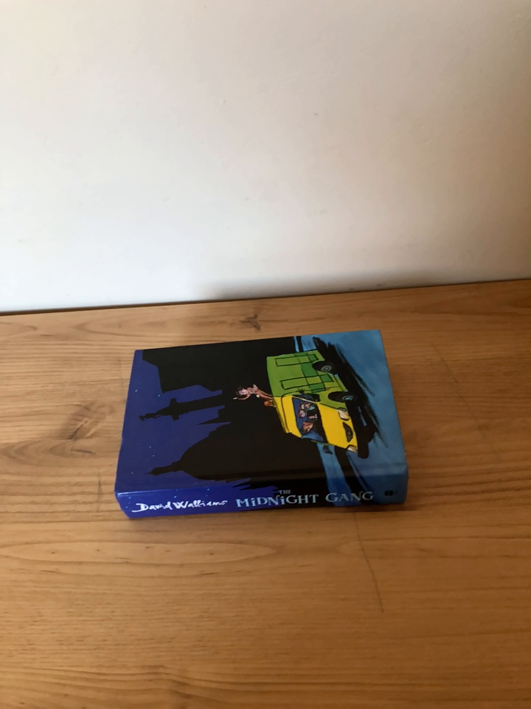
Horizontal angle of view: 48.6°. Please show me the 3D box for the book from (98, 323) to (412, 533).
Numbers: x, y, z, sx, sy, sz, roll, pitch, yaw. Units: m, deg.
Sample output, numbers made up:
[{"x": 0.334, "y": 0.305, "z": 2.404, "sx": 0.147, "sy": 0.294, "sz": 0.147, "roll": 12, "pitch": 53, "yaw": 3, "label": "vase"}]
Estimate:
[{"x": -0.009, "y": 0.061, "z": 0.512, "sx": 0.237, "sy": 0.060, "sz": 0.154, "roll": -5, "pitch": 51, "yaw": 4, "label": "book"}]
